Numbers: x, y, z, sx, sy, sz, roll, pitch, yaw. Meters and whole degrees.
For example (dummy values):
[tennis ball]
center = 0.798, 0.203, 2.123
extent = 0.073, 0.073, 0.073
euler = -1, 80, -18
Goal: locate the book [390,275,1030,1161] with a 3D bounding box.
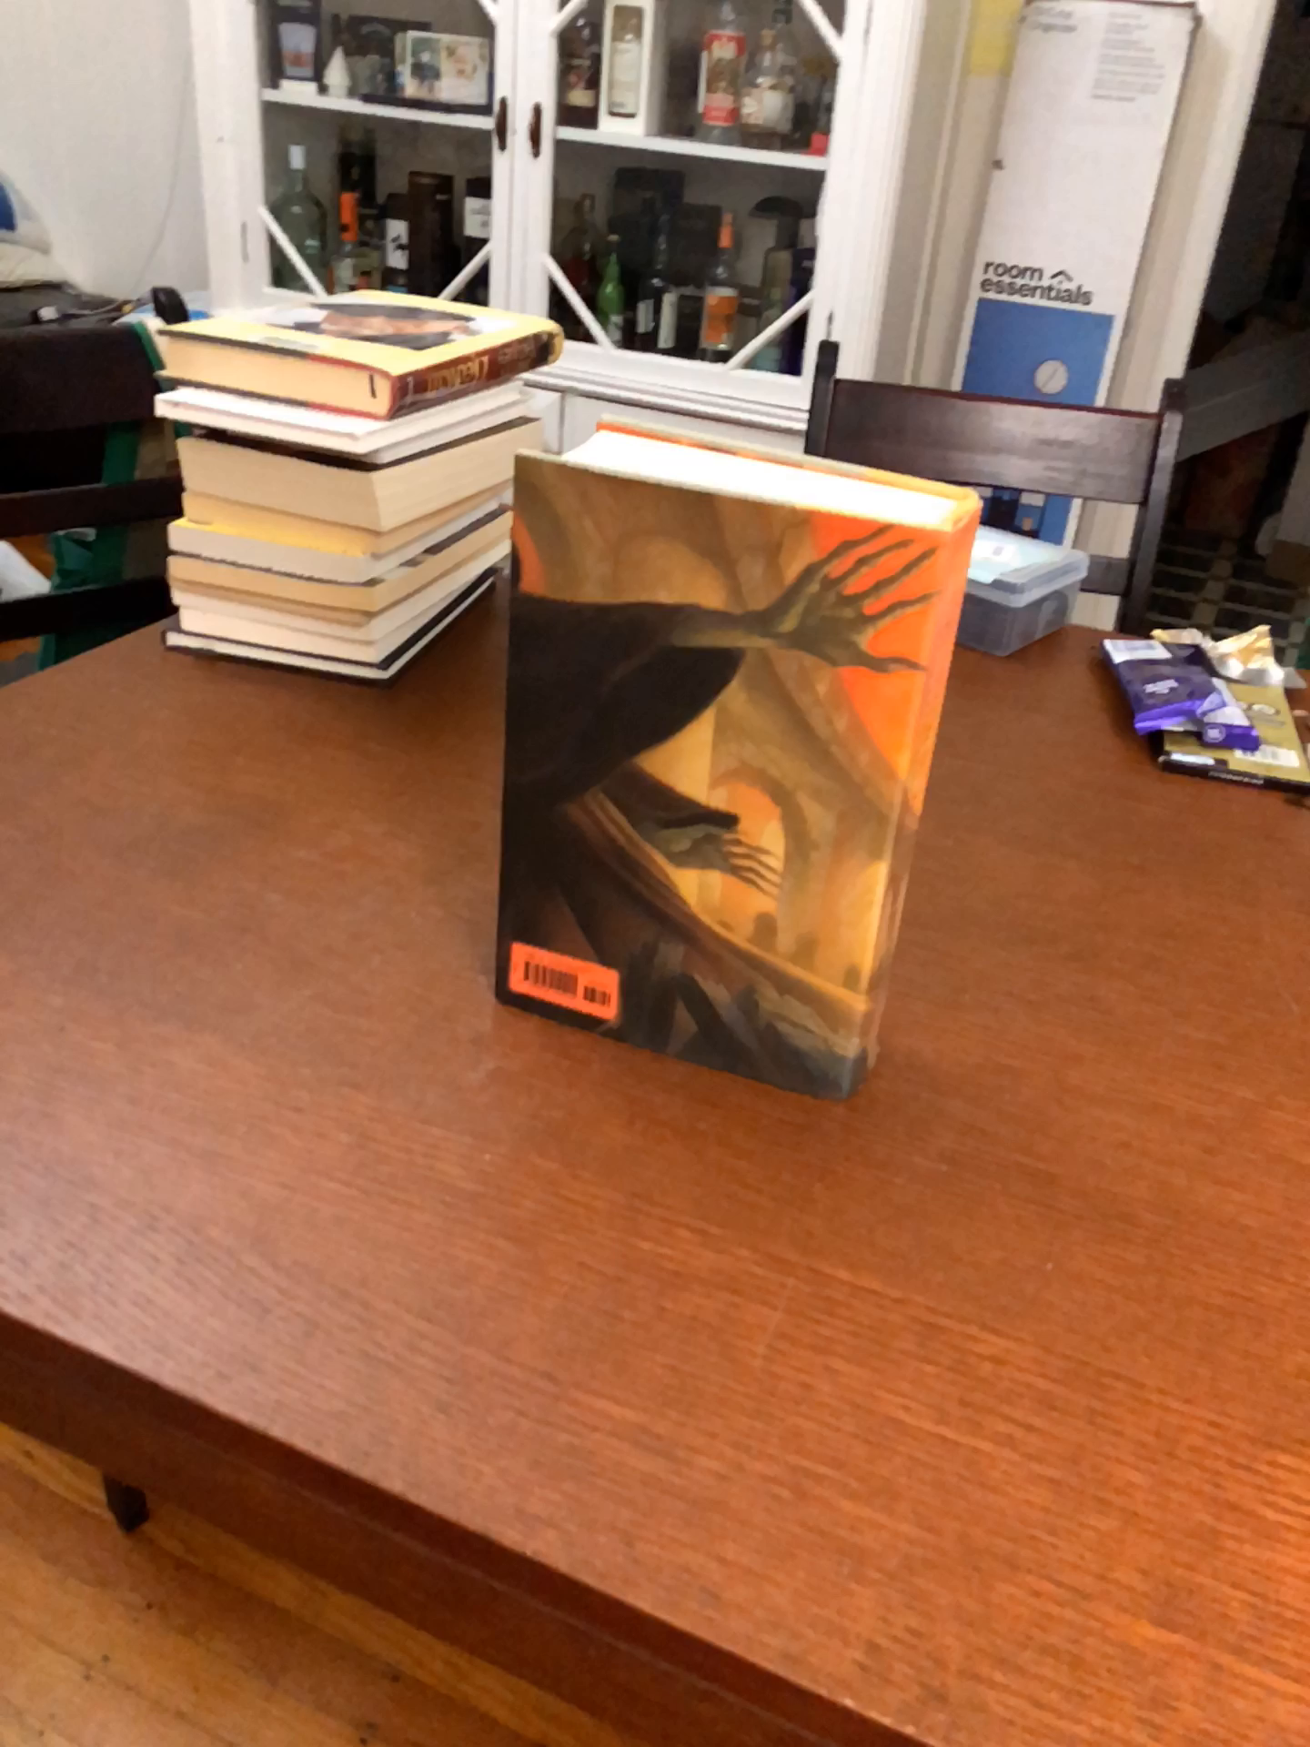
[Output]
[book]
center = 0.005, -0.059, 0.561
extent = 0.210, 0.298, 0.070
euler = 16, 30, 19
